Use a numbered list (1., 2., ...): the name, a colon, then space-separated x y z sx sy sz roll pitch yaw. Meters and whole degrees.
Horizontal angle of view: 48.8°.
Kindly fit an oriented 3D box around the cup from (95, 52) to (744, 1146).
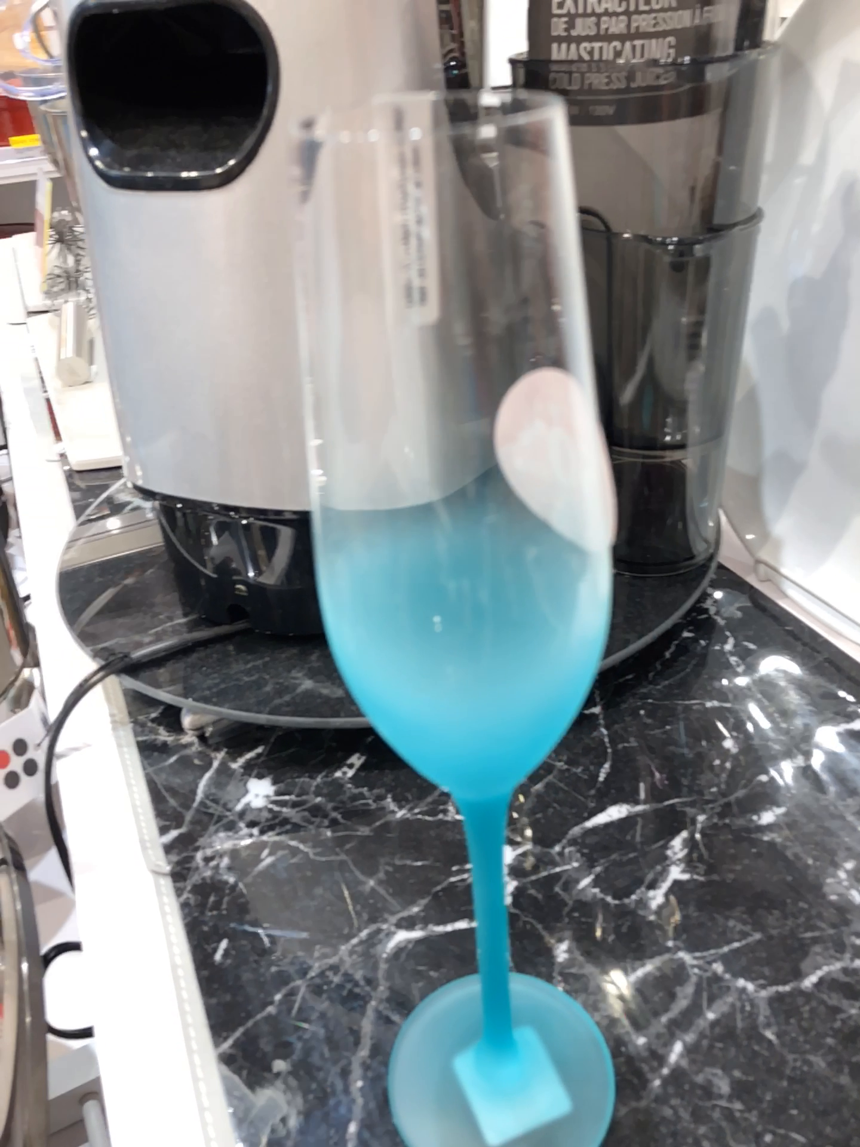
1. cup: 0.006 0.034 0.194 0.070 0.239 0.070 -4 32 2
